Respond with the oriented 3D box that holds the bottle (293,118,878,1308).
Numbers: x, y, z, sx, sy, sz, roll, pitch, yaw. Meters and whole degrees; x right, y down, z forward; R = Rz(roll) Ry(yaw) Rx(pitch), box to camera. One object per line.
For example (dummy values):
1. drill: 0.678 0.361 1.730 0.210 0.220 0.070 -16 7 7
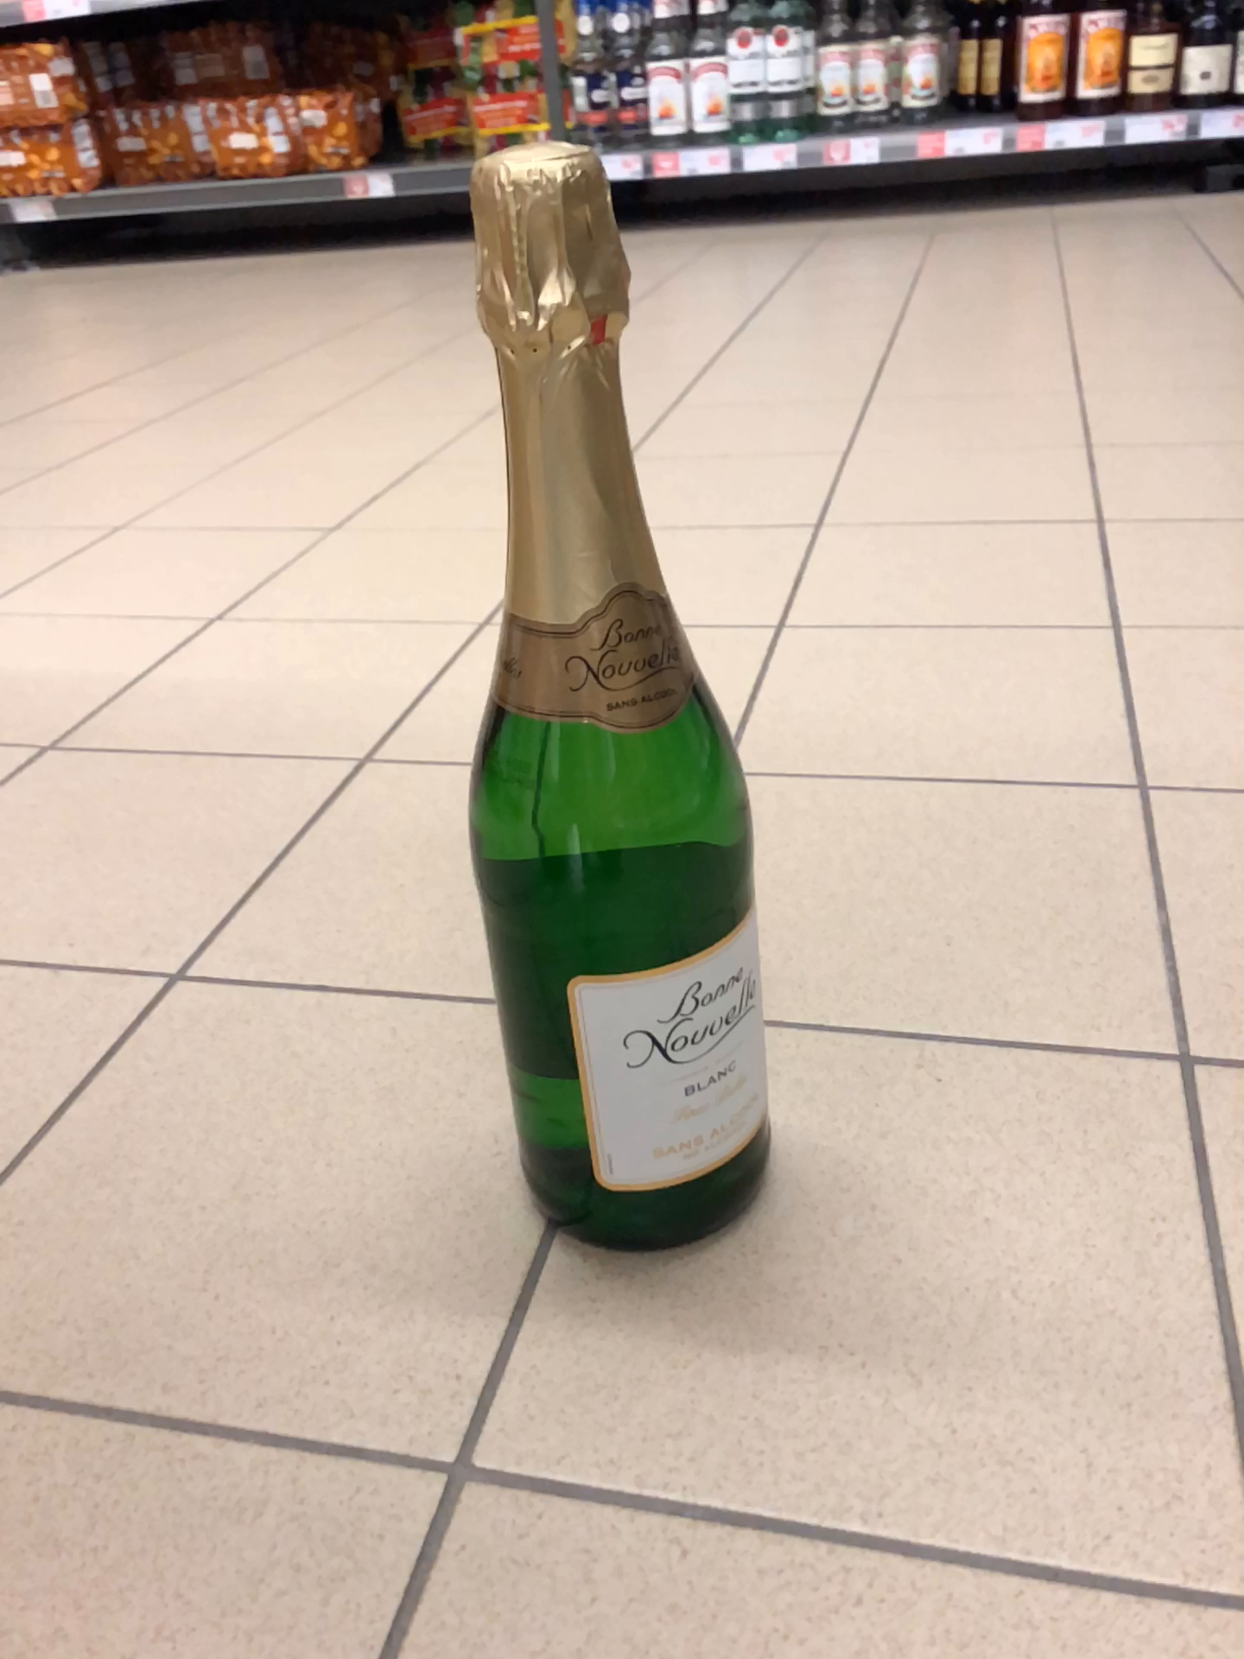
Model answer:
1. bottle: 0.003 -0.025 0.383 0.100 0.298 0.090 -25 34 -31
